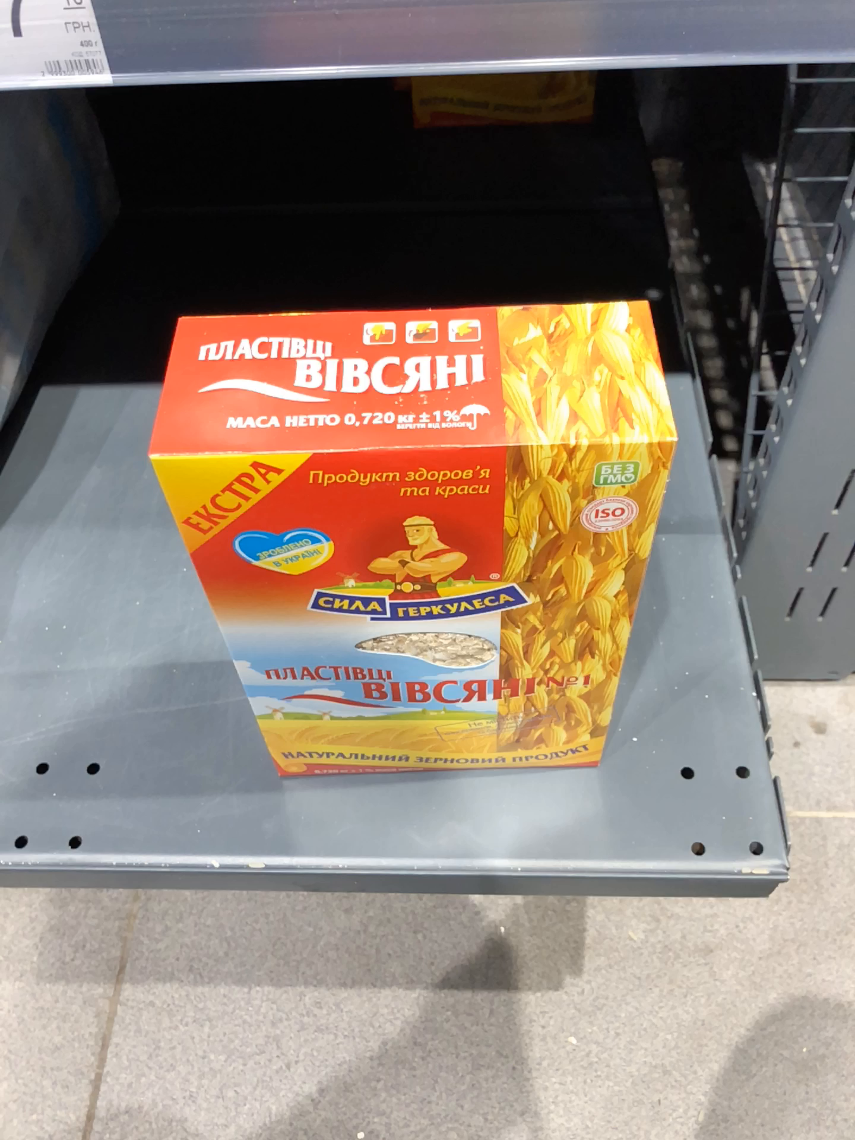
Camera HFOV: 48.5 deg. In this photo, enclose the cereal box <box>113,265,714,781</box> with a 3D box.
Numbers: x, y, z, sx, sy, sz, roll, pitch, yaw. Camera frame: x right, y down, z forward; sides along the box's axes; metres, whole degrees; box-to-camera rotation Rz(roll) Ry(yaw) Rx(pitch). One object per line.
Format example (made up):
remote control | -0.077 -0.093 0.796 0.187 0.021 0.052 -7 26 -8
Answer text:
cereal box | 0.000 0.000 0.357 0.160 0.209 0.070 -2 53 2
